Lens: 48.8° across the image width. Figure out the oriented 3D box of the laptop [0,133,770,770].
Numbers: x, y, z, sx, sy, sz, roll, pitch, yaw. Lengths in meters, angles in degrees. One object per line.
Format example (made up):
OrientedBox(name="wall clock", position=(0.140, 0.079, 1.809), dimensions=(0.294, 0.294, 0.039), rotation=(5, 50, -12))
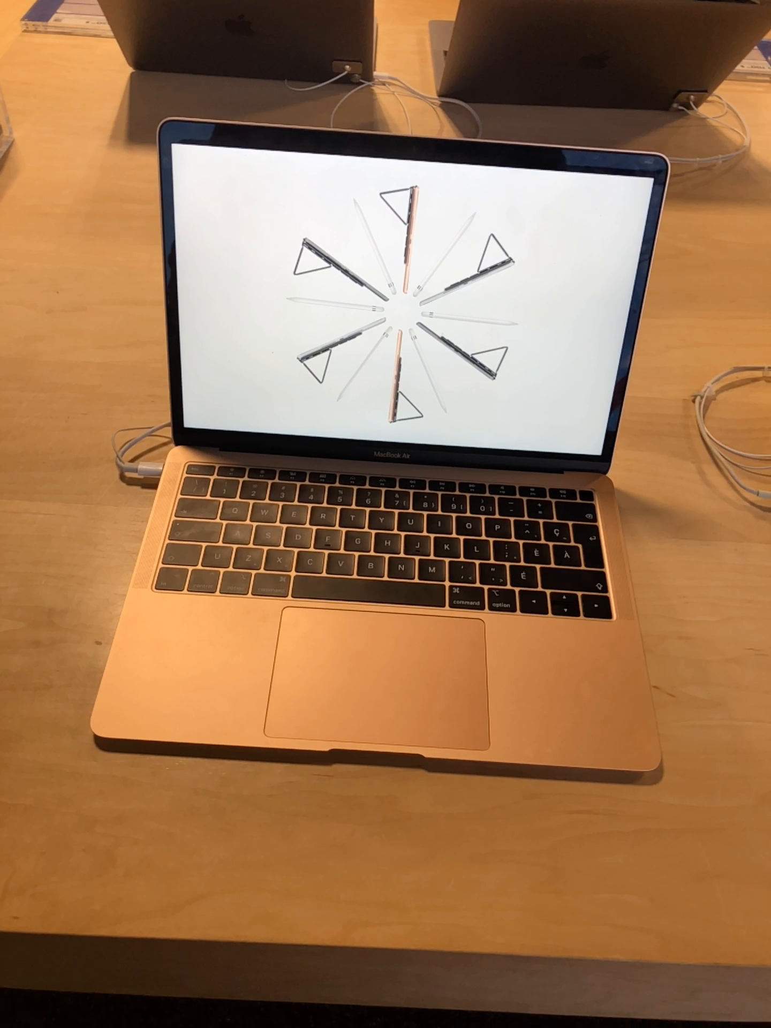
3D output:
OrientedBox(name="laptop", position=(0.010, -0.045, 0.463), dimensions=(0.291, 0.183, 0.284), rotation=(4, 48, 0))
